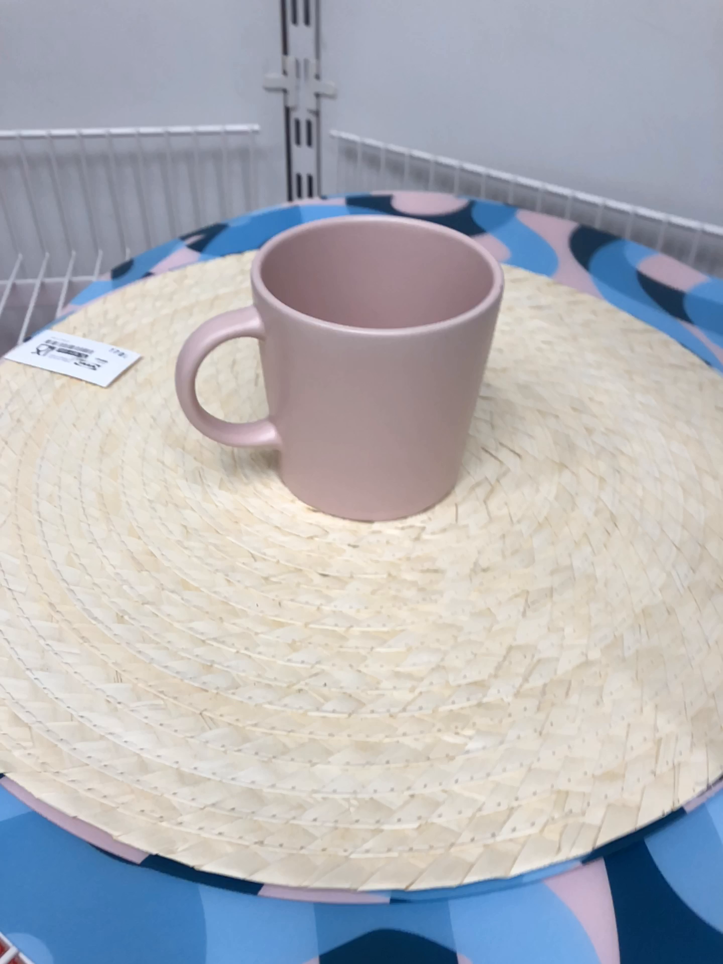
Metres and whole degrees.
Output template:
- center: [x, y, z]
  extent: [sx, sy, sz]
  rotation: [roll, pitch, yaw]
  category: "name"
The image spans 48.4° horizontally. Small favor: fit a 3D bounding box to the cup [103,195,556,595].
- center: [-0.015, -0.041, 0.312]
  extent: [0.130, 0.090, 0.100]
  rotation: [-16, 42, -21]
  category: "cup"
